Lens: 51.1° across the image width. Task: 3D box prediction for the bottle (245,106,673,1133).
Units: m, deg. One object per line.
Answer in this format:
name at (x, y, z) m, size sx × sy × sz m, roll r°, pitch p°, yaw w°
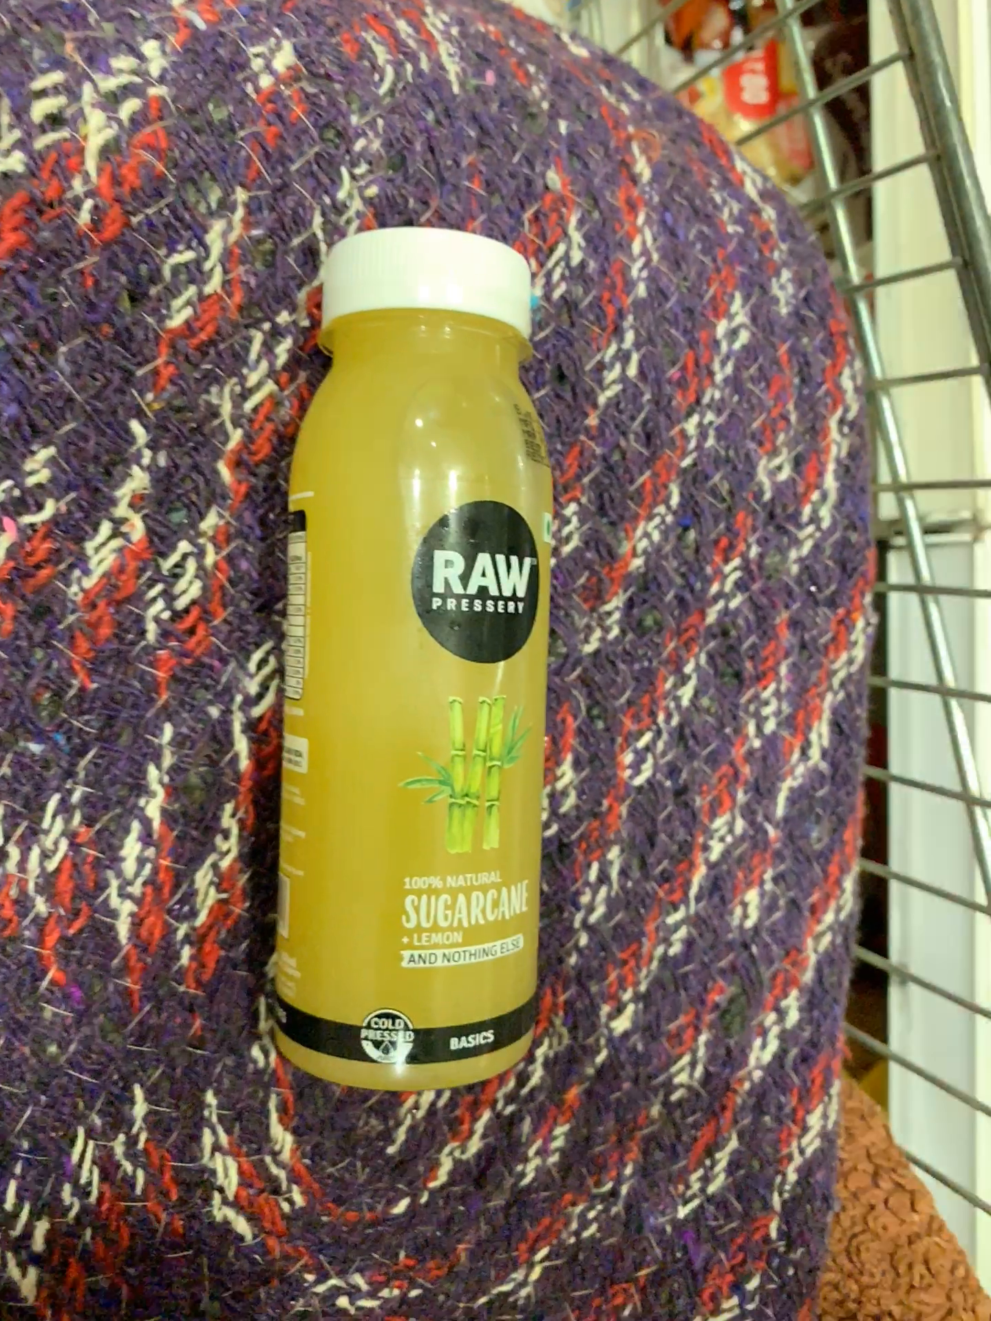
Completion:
bottle at (-0.009, -0.006, 0.198) m, size 0.060 × 0.050 × 0.160 m, roll 1°, pitch 93°, yaw -31°
